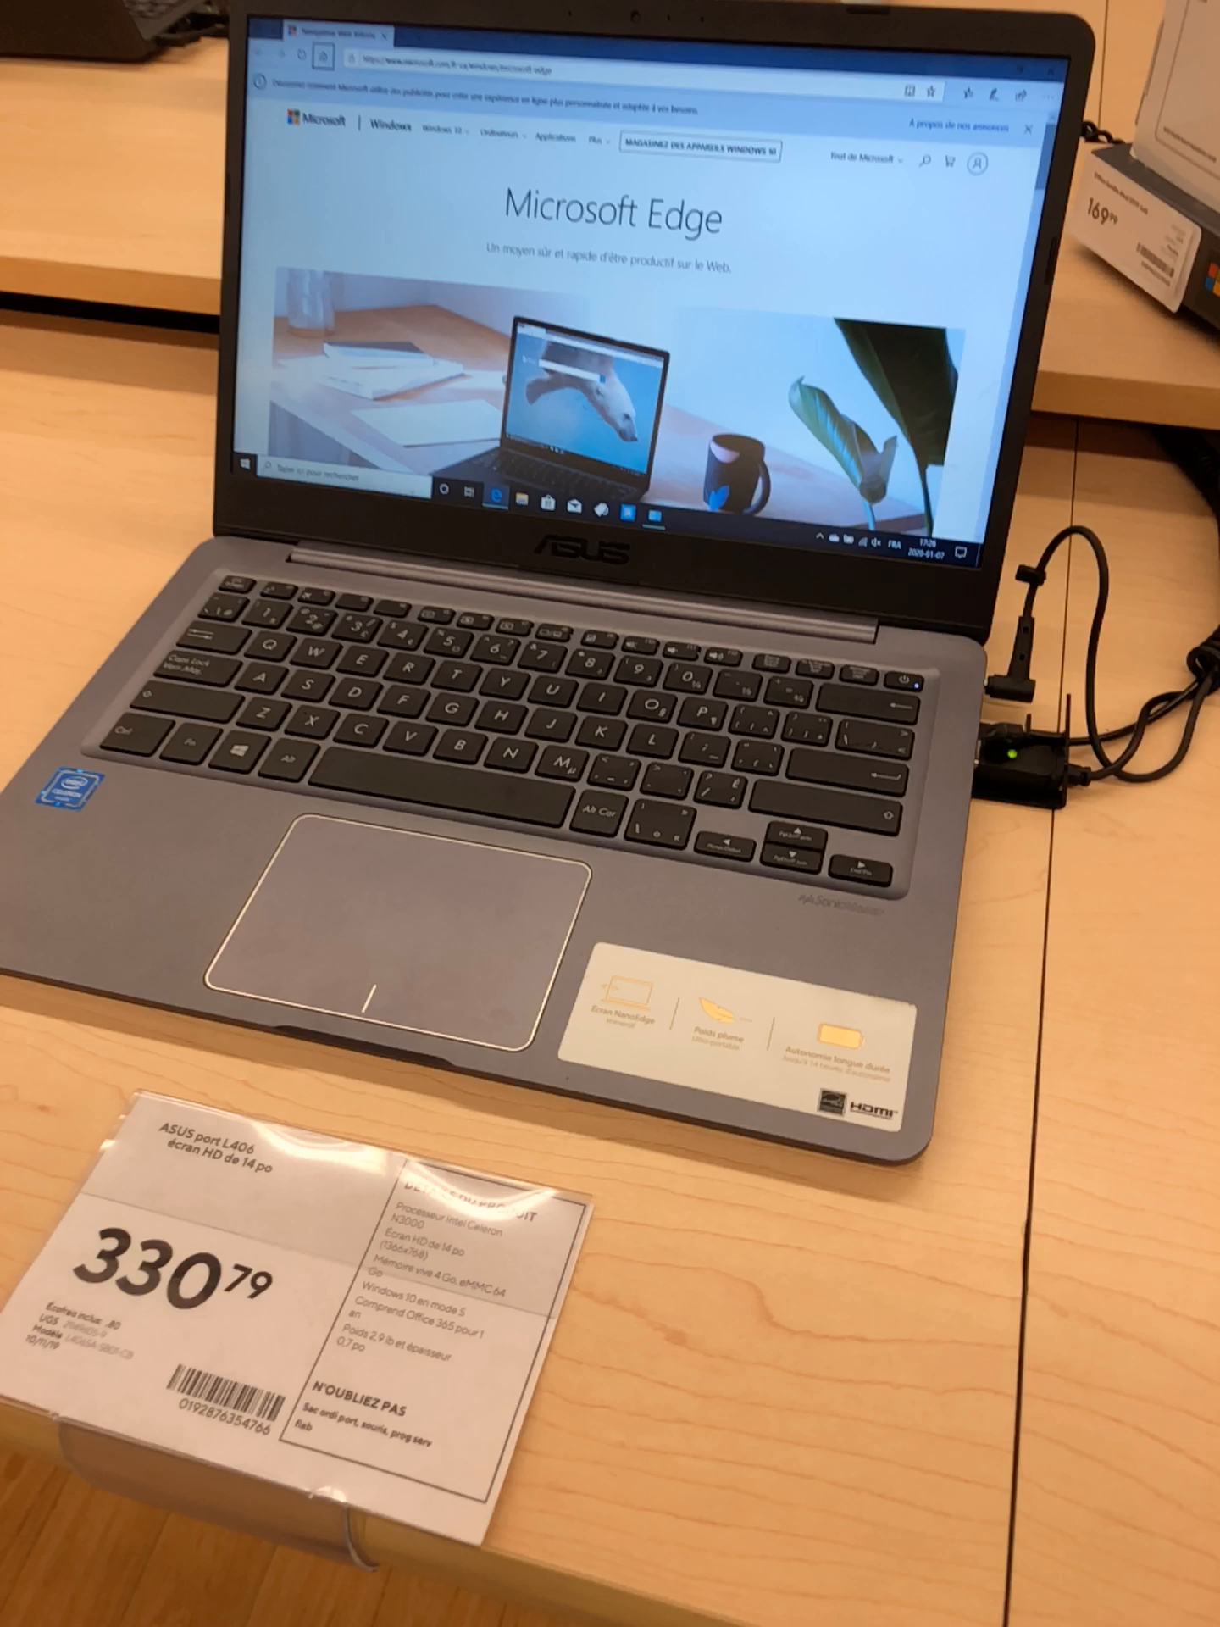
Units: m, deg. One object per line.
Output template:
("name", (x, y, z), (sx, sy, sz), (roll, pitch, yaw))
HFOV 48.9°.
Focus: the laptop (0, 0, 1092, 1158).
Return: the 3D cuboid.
("laptop", (-0.030, -0.111, 0.436), (0.309, 0.173, 0.328), (10, 50, 12))
